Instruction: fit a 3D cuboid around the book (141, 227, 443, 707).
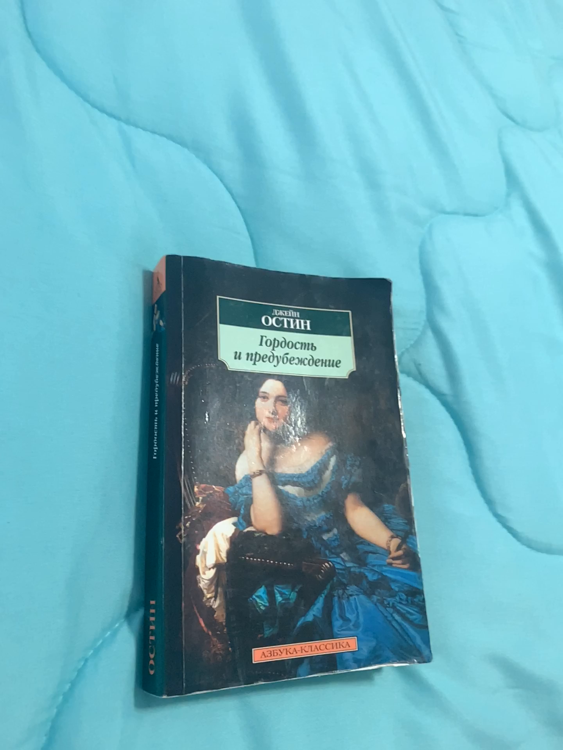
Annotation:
[{"bbox_3d":[0.002,0.034,0.254,0.110,0.044,0.173,7,69,-28],"label":"book"}]
